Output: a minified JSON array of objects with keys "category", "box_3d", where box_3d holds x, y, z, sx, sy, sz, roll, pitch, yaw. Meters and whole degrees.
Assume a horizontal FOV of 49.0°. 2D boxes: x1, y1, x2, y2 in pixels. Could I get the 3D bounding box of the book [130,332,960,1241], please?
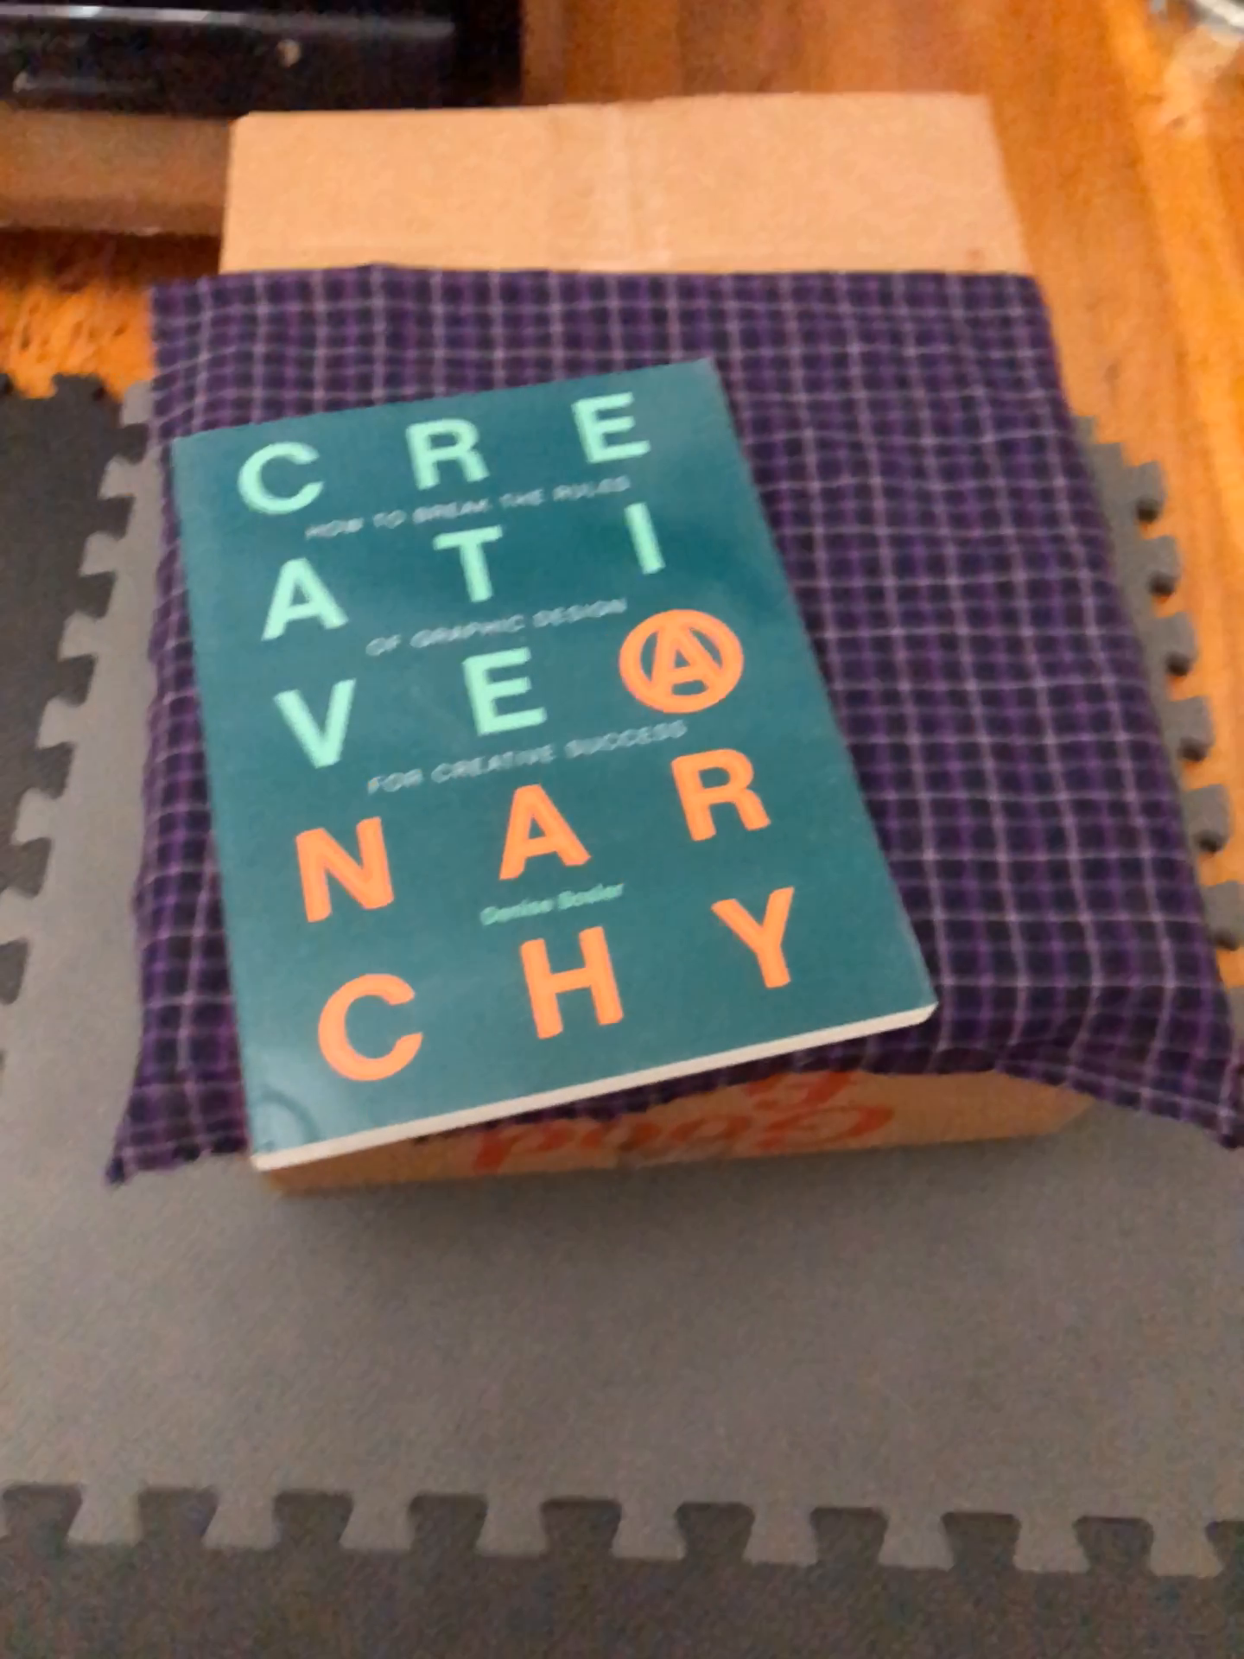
[{"category":"book","box_3d":[-0.042,-0.038,0.466,0.220,0.020,0.301,-11,64,-7]}]
